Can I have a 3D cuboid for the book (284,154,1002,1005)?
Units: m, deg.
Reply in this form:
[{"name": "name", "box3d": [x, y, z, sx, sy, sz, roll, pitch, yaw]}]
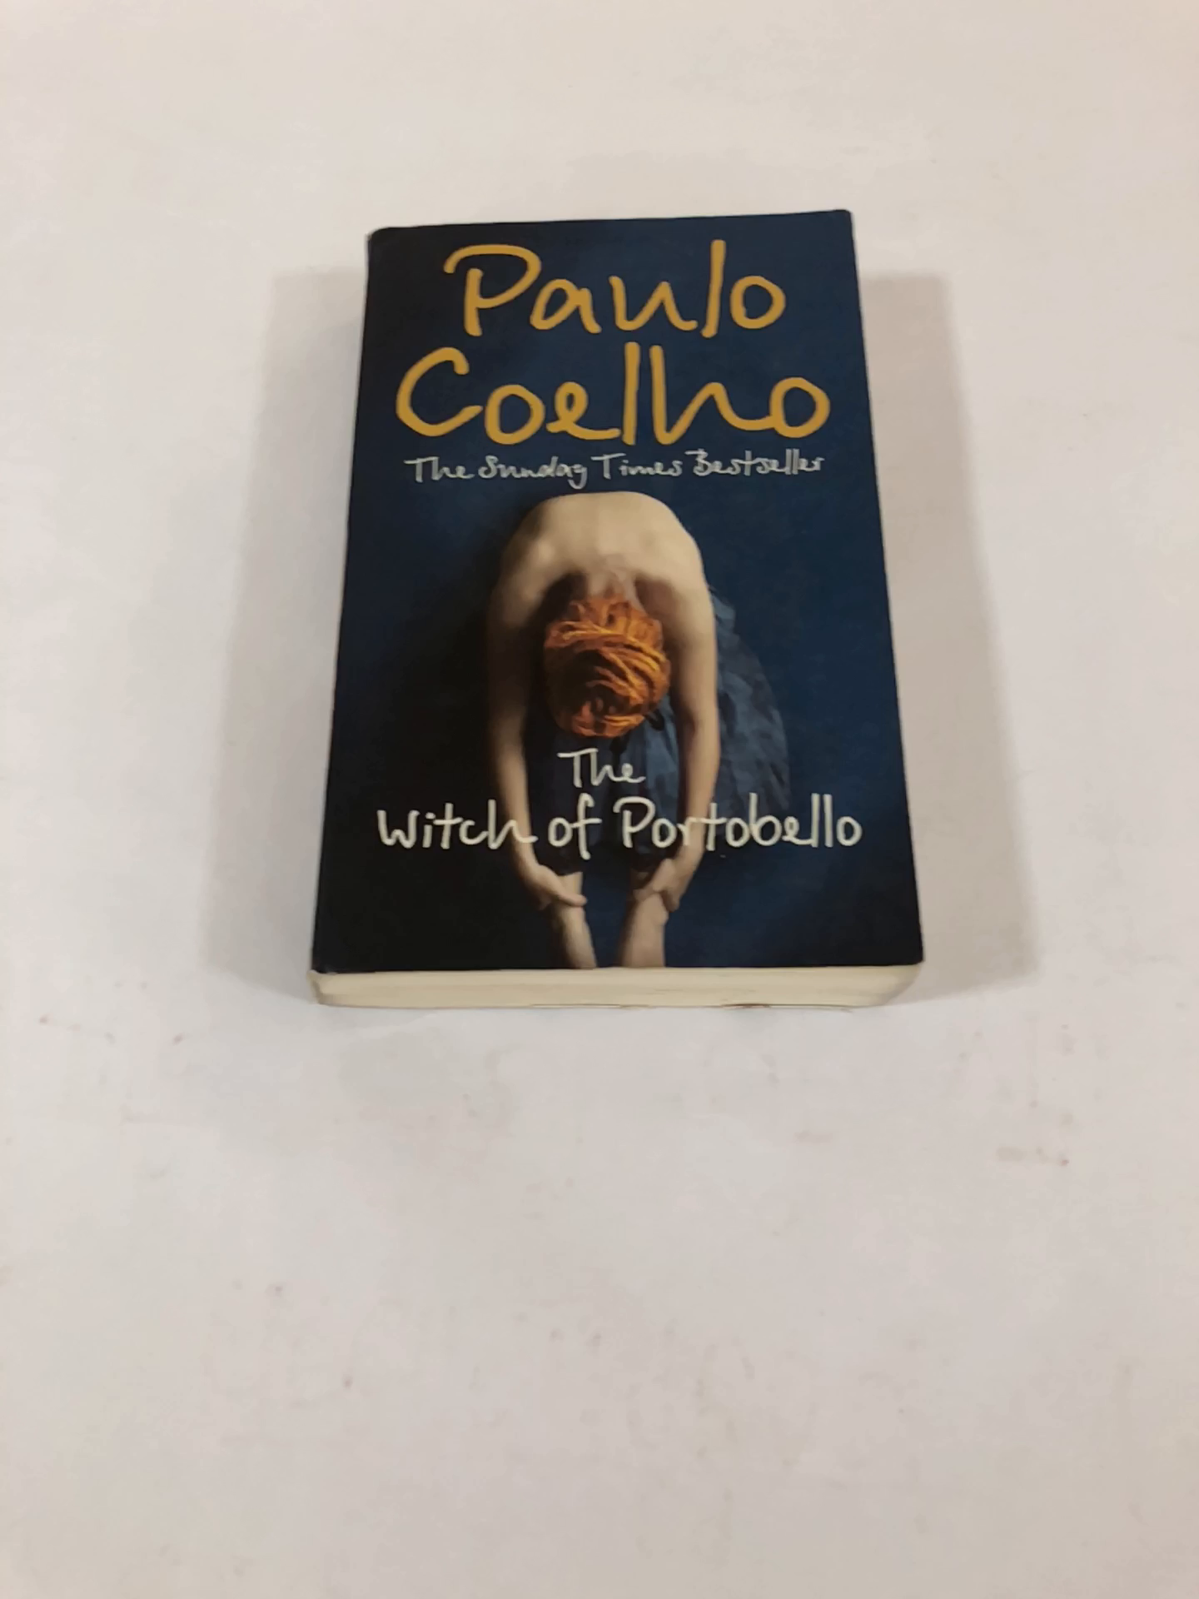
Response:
[{"name": "book", "box3d": [0.007, -0.051, 0.272, 0.120, 0.030, 0.180, -1, 68, 1]}]
